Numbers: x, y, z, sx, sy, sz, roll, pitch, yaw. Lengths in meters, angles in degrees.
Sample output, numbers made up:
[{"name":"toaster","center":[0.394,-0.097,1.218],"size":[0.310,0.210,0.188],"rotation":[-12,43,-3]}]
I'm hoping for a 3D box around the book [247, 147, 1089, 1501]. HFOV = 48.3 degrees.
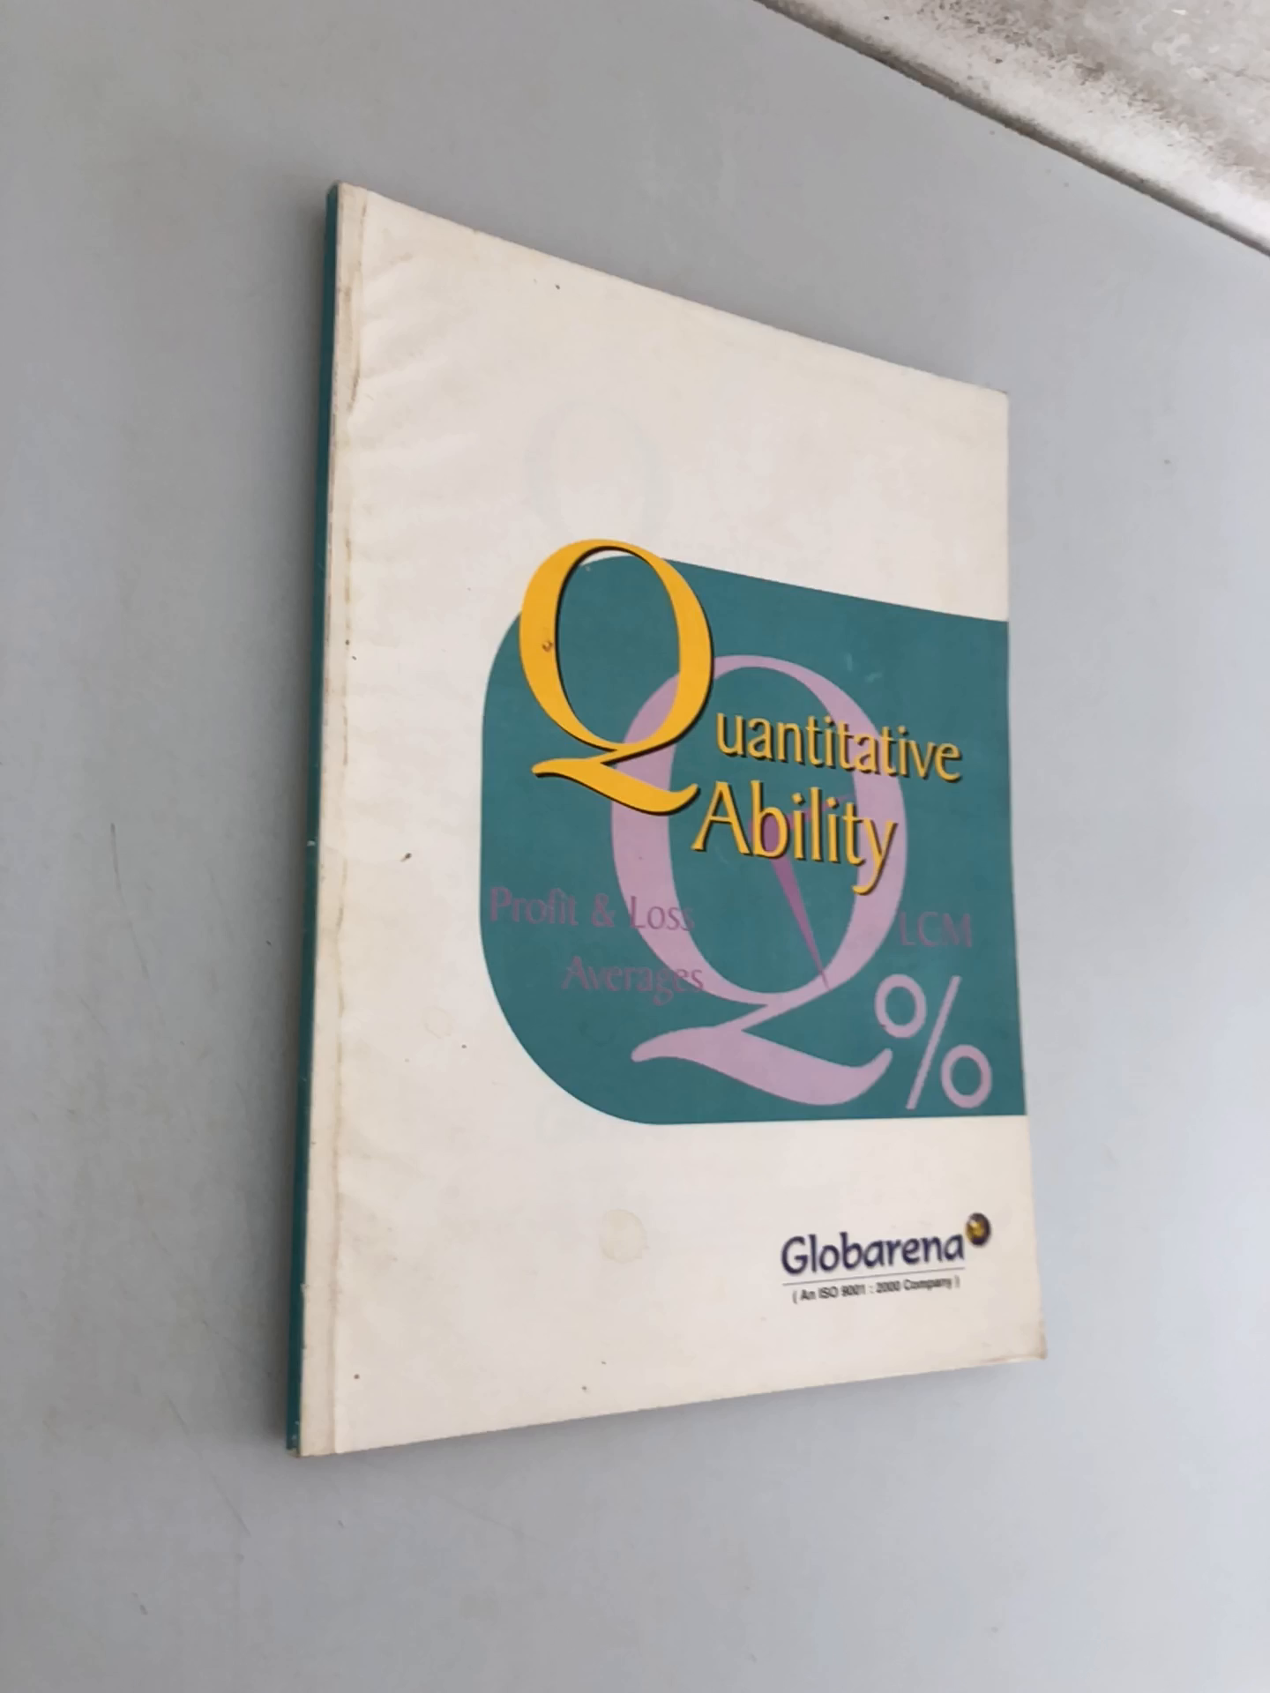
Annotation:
[{"name":"book","center":[0.020,-0.003,0.305],"size":[0.191,0.020,0.240],"rotation":[5,81,-30]}]
